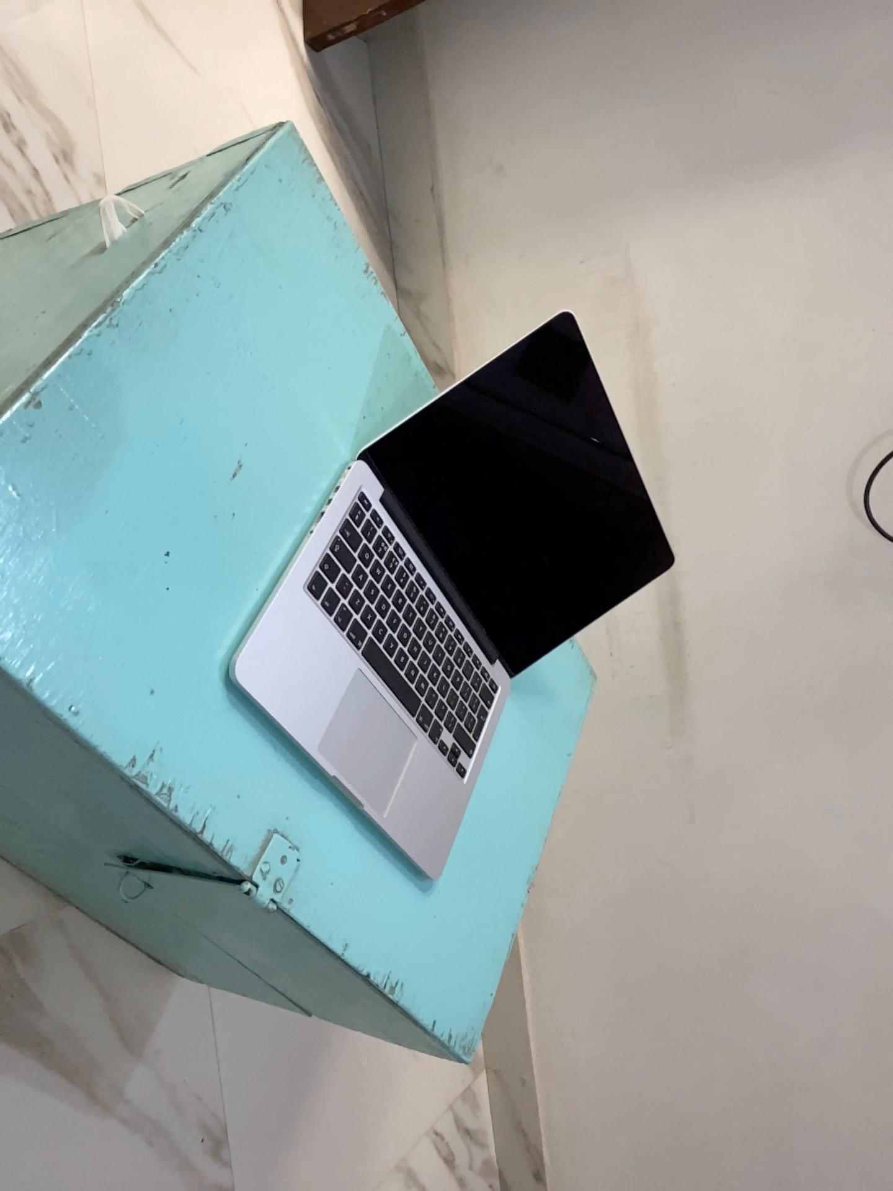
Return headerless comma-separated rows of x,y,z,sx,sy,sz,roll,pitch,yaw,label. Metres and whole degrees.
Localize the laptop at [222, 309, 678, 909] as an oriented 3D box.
0.044,0.014,0.781,0.314,0.148,0.378,55,45,-38,laptop
